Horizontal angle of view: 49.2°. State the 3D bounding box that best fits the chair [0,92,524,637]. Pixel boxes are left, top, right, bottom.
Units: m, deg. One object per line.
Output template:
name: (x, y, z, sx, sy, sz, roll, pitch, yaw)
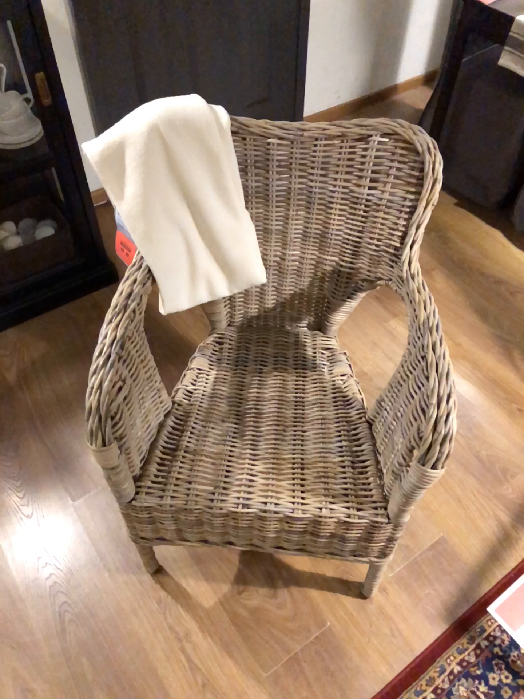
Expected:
chair: (0.018, 0.070, 1.098, 0.620, 0.815, 0.634, 4, 49, 3)
